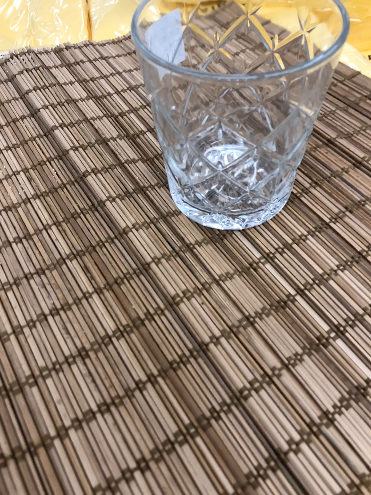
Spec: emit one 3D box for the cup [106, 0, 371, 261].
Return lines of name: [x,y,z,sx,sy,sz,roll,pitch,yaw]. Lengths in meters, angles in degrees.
cup: [0.029,-0.066,0.181,0.080,0.090,0.080,-1,50,2]
